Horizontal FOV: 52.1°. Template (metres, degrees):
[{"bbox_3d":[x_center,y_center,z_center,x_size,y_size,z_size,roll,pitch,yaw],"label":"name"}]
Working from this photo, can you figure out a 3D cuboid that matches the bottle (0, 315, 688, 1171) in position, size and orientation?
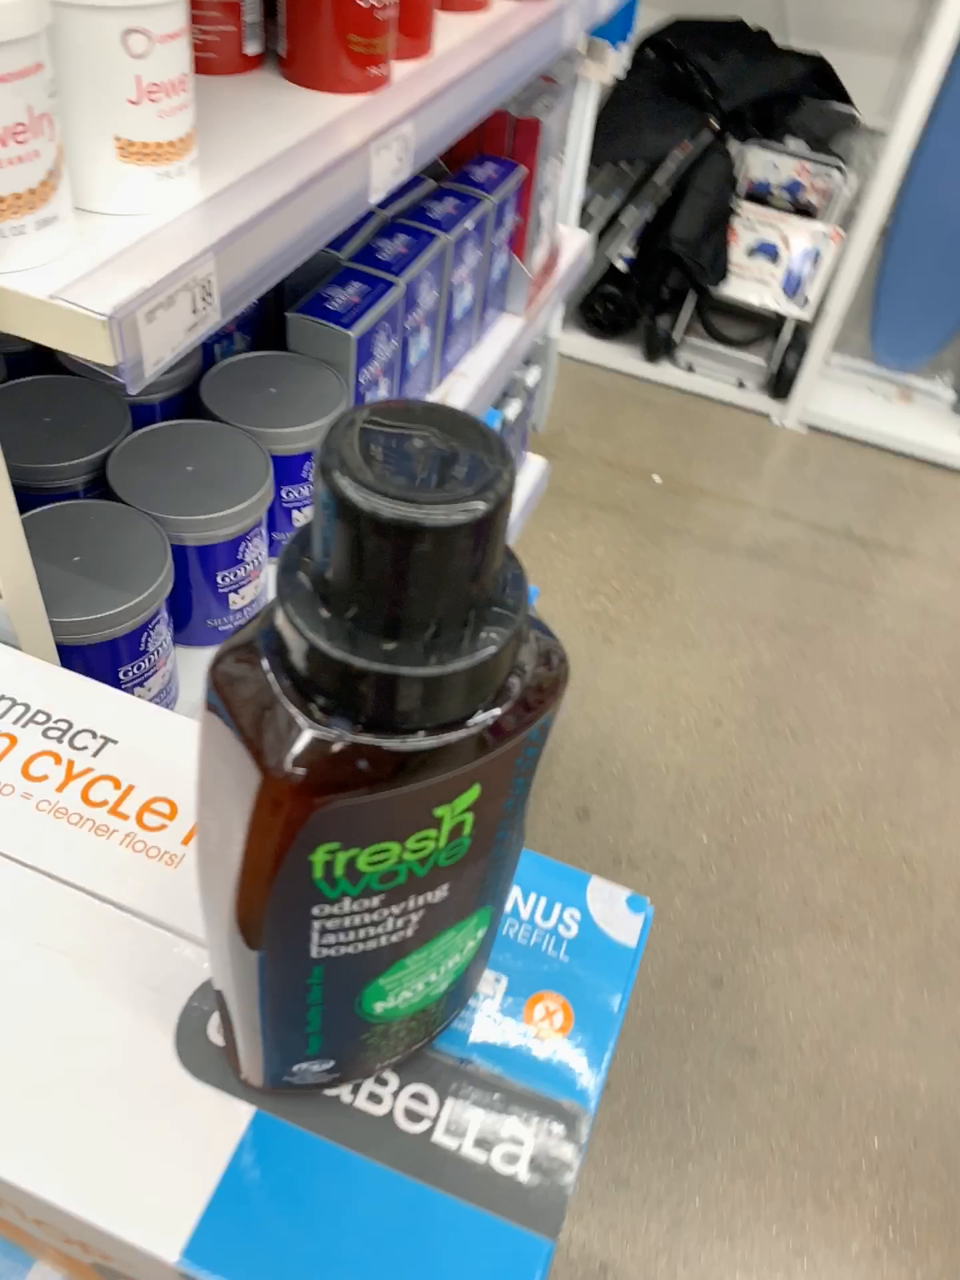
[{"bbox_3d":[-0.036,0.040,0.245,0.100,0.209,0.070,-18,51,-25],"label":"bottle"}]
